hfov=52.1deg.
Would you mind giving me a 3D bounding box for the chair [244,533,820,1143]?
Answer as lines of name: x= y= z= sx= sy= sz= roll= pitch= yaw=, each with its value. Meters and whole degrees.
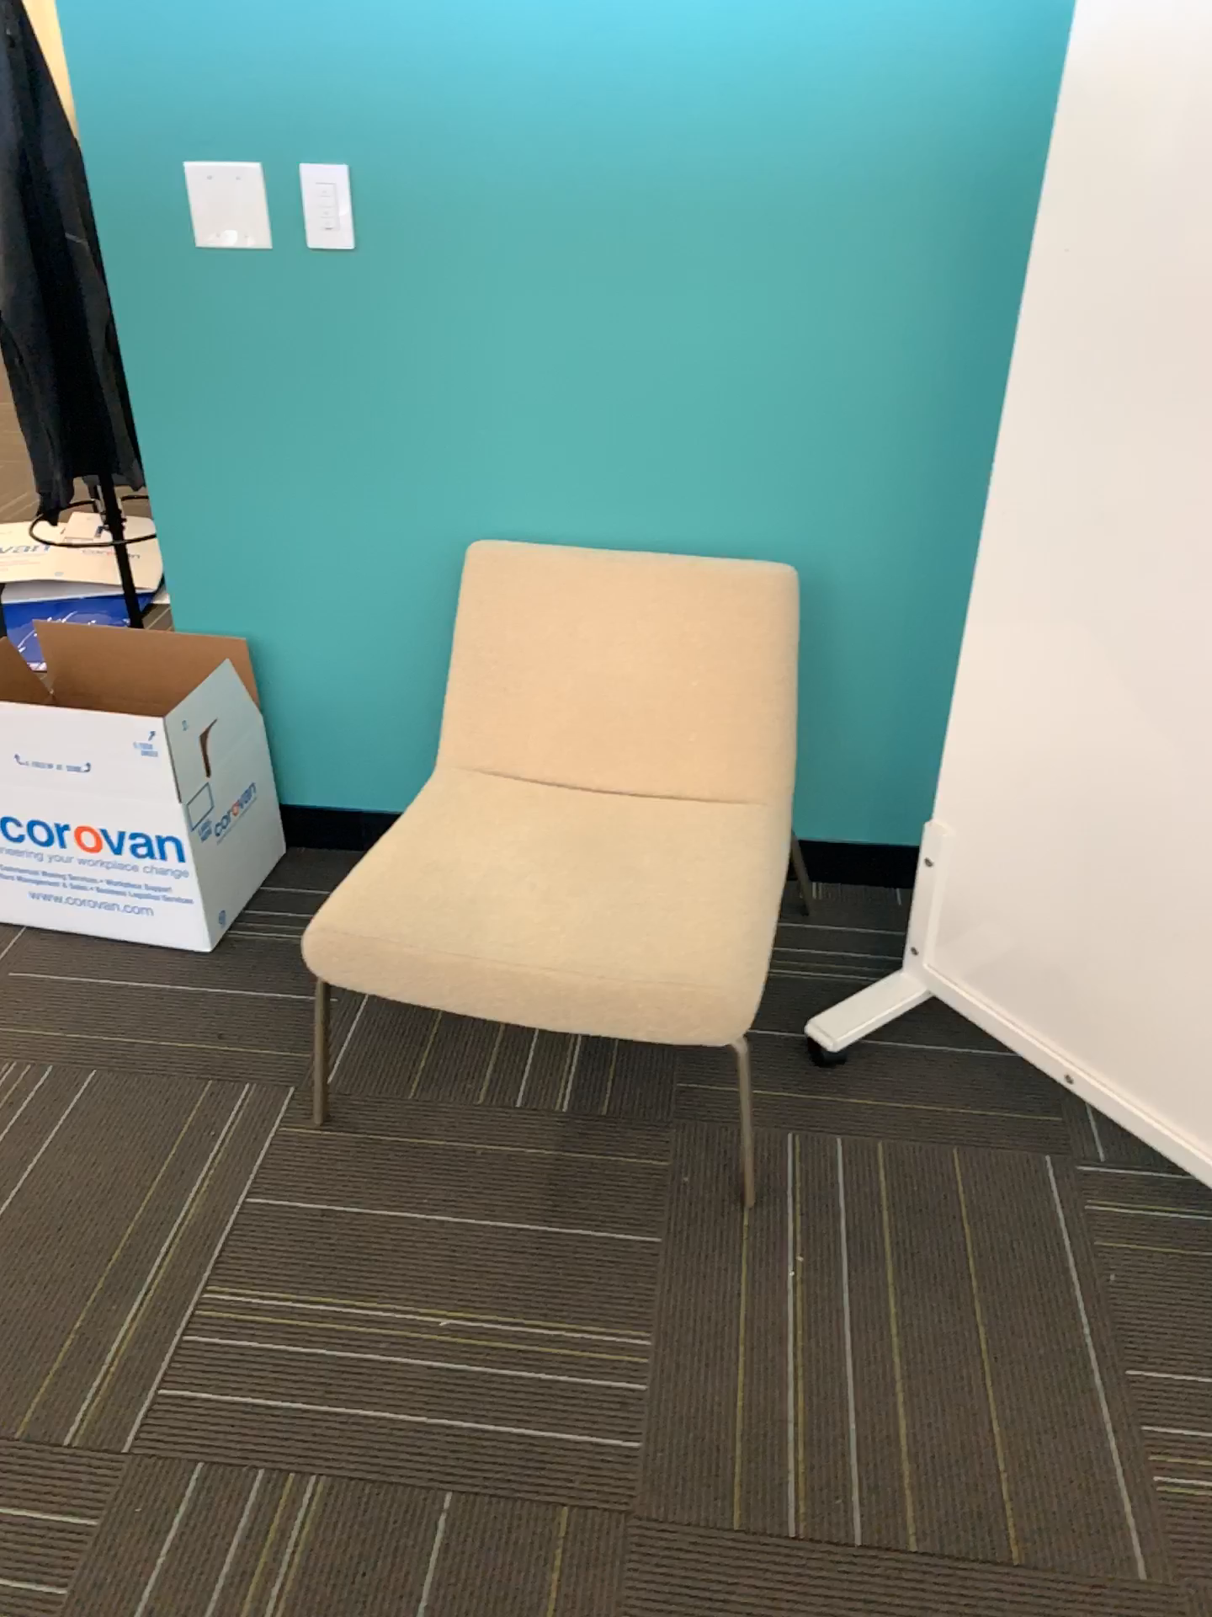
chair: x=-0.049 y=-0.007 z=1.924 sx=0.660 sy=0.567 sz=0.734 roll=6 pitch=32 yaw=10
